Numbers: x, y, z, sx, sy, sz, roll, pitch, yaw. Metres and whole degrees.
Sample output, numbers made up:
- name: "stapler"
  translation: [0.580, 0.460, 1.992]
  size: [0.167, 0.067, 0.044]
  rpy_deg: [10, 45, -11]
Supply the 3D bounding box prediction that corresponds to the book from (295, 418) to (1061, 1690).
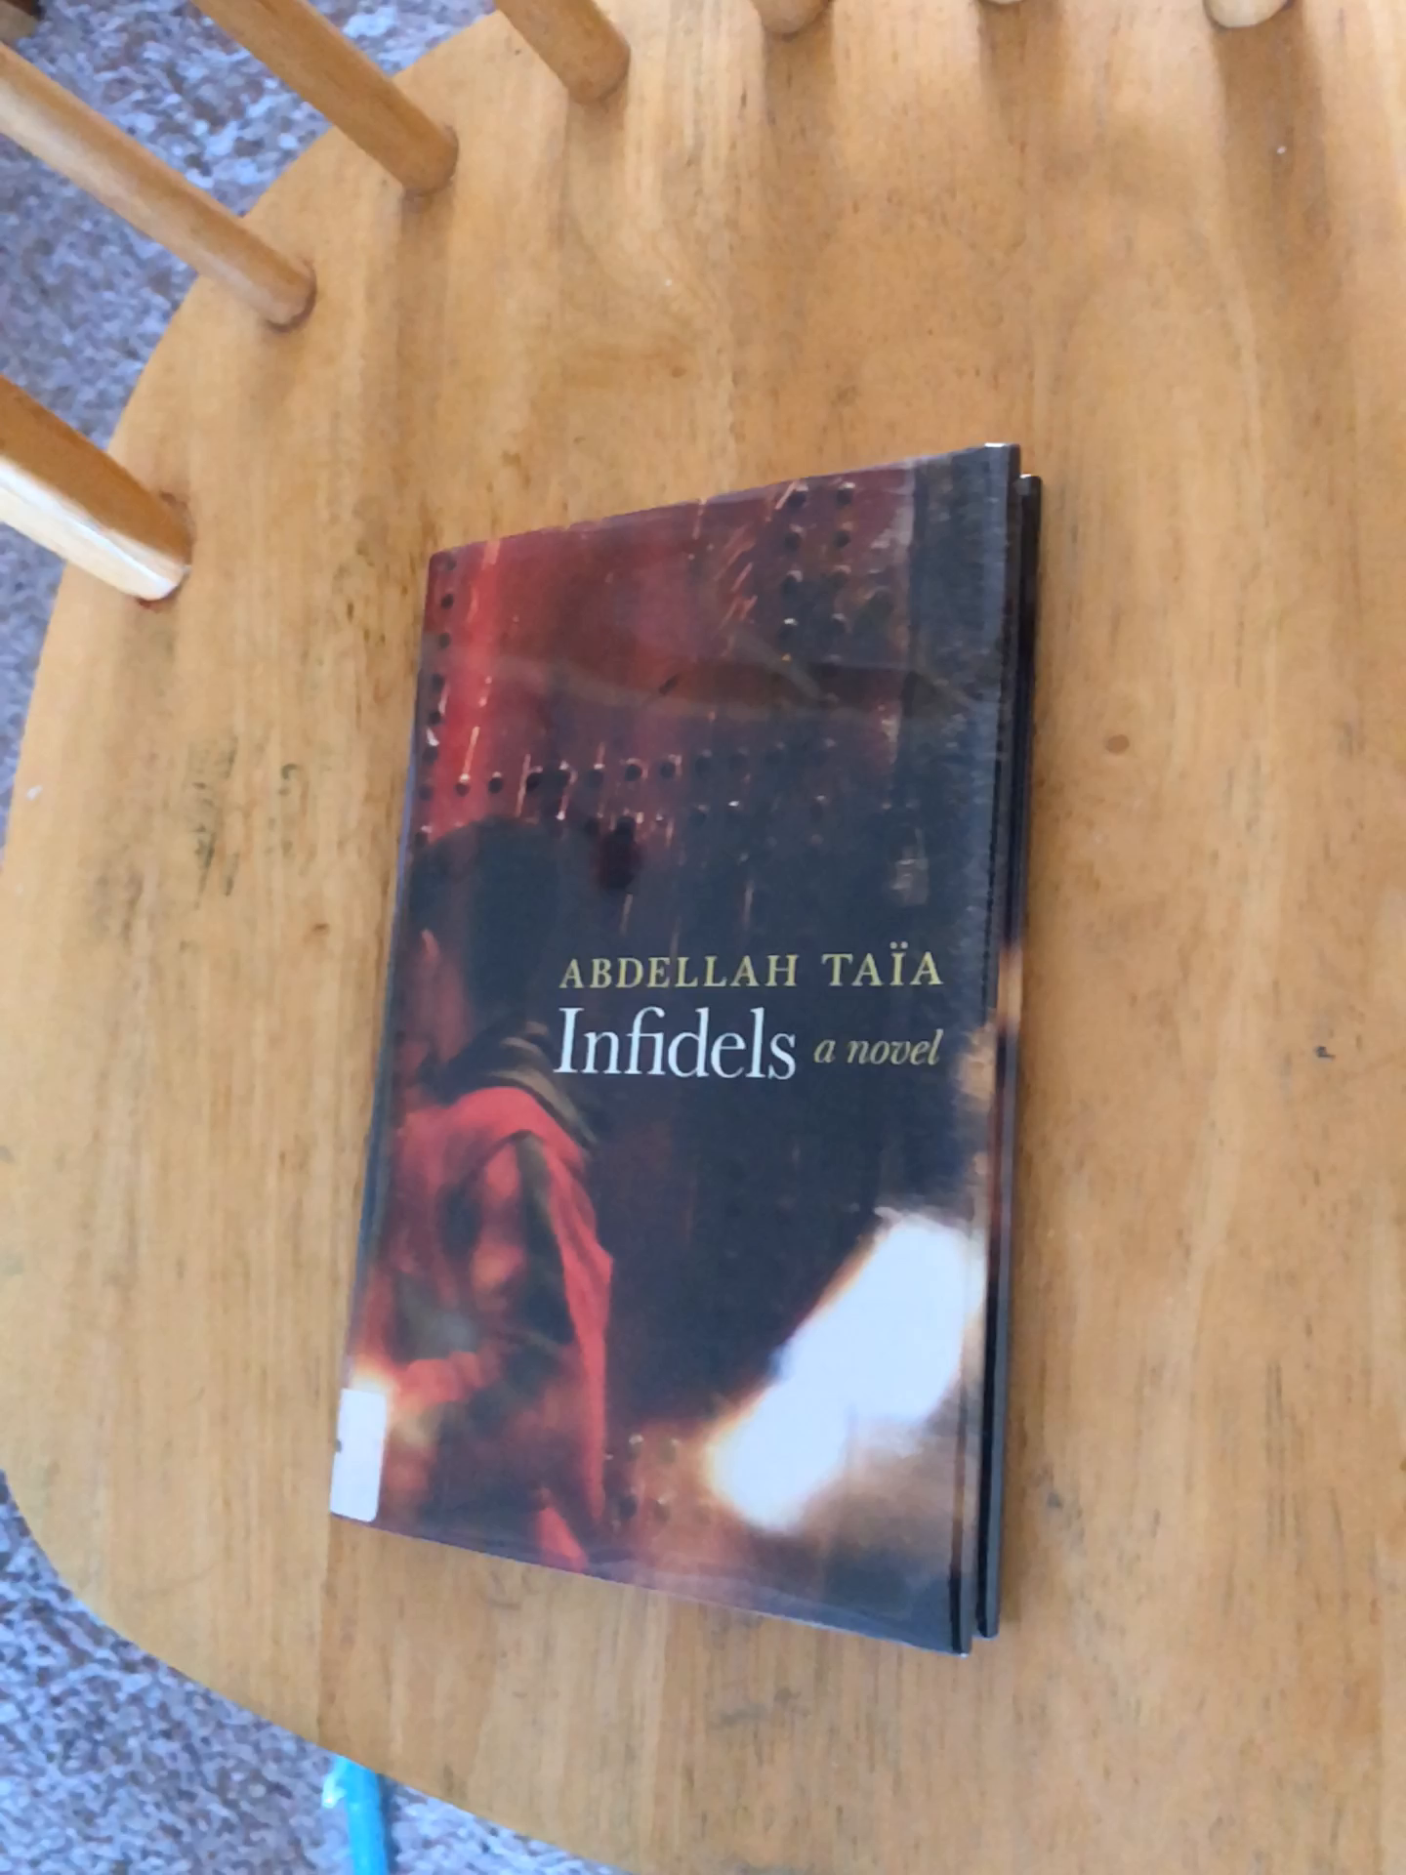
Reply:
- name: "book"
  translation: [-0.008, 0.015, 0.310]
  size: [0.143, 0.020, 0.216]
  rpy_deg: [-1, 78, 32]
